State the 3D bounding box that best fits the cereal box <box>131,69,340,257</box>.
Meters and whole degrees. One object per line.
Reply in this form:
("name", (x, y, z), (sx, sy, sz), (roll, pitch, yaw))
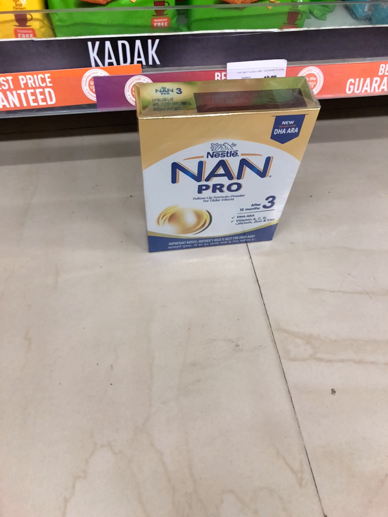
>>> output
("cereal box", (0.028, -0.081, 0.420), (0.160, 0.189, 0.050), (-6, 57, -7))
